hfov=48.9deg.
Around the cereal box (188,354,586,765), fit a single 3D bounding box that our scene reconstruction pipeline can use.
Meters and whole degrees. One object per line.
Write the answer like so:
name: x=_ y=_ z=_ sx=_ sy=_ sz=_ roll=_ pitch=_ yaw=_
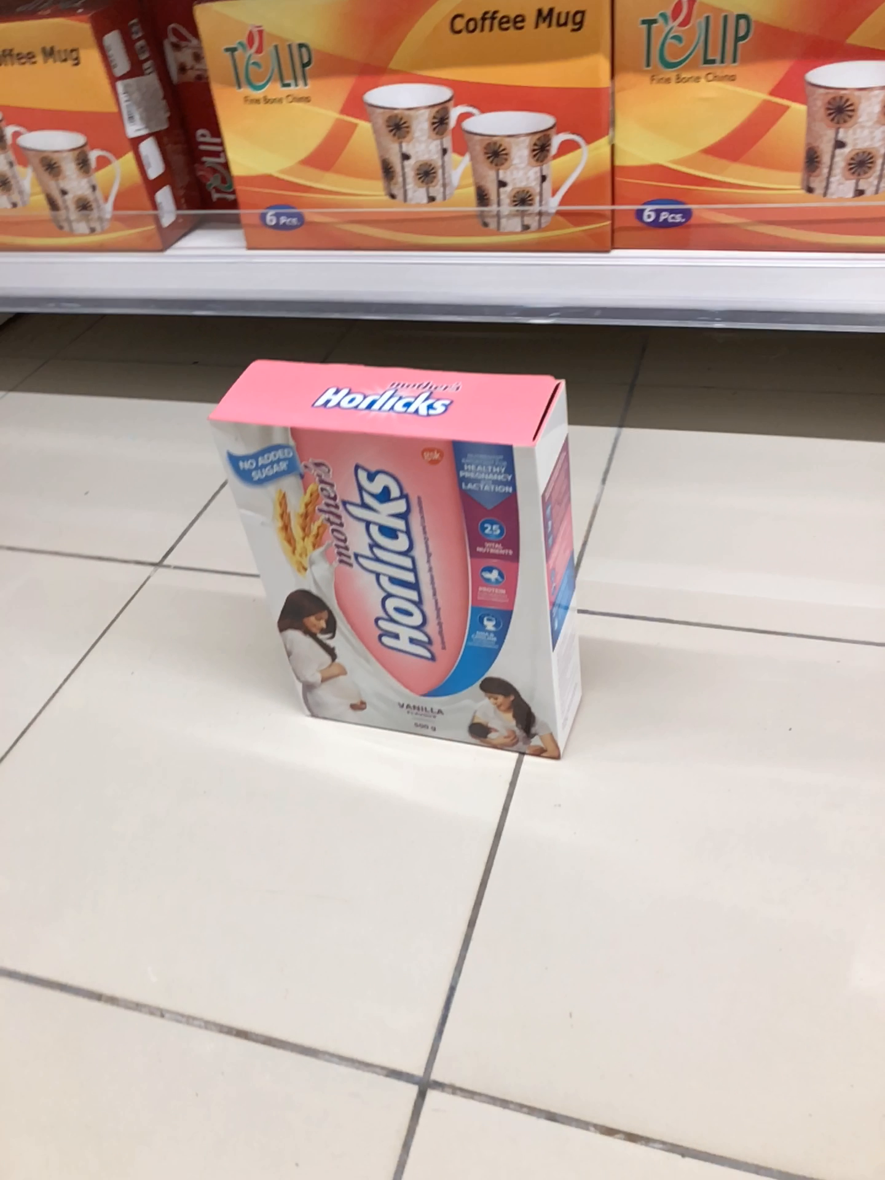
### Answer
cereal box: x=-0.017 y=-0.013 z=0.484 sx=0.160 sy=0.189 sz=0.060 roll=7 pitch=41 yaw=19
